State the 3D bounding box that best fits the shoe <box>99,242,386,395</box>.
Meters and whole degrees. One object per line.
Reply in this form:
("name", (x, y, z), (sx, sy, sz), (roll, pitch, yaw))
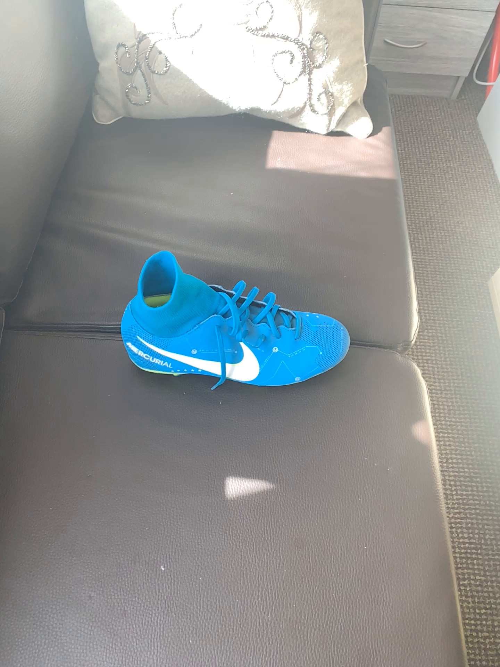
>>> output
("shoe", (-0.007, -0.011, 0.520), (0.250, 0.119, 0.099), (3, 60, -1))
